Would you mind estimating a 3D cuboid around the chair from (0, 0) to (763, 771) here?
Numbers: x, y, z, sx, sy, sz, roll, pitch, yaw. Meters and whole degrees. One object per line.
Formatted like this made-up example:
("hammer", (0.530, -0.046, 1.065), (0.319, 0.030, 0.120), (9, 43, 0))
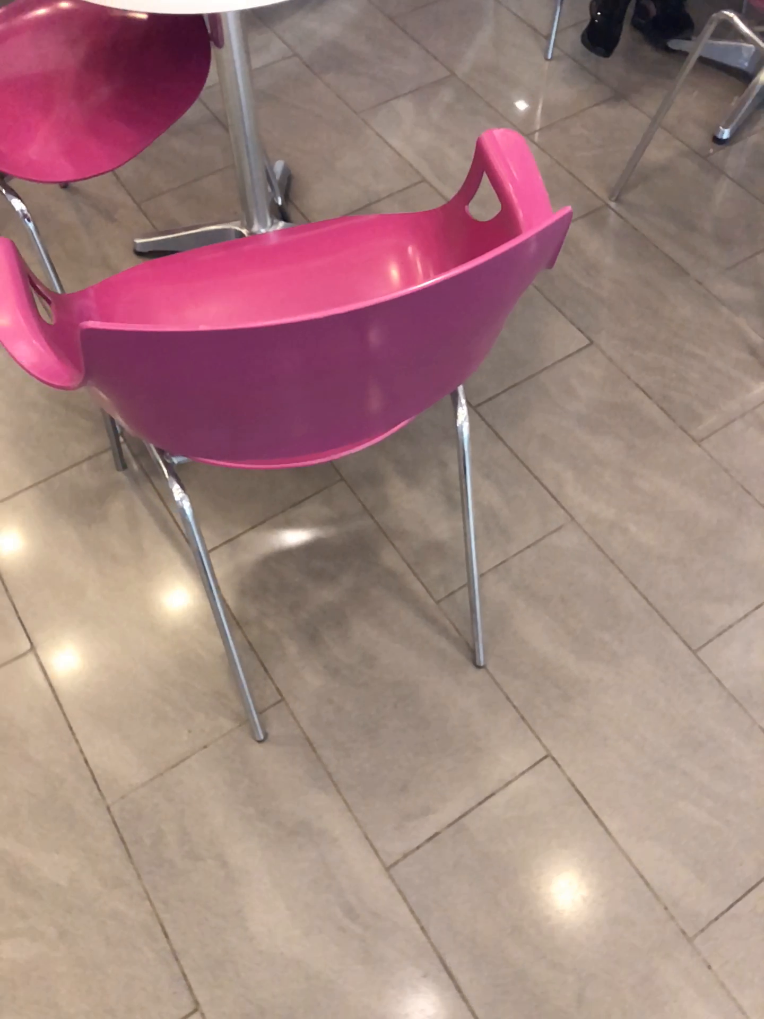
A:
("chair", (-0.091, -0.150, 1.047), (0.630, 0.758, 0.591), (-15, 60, -9))
